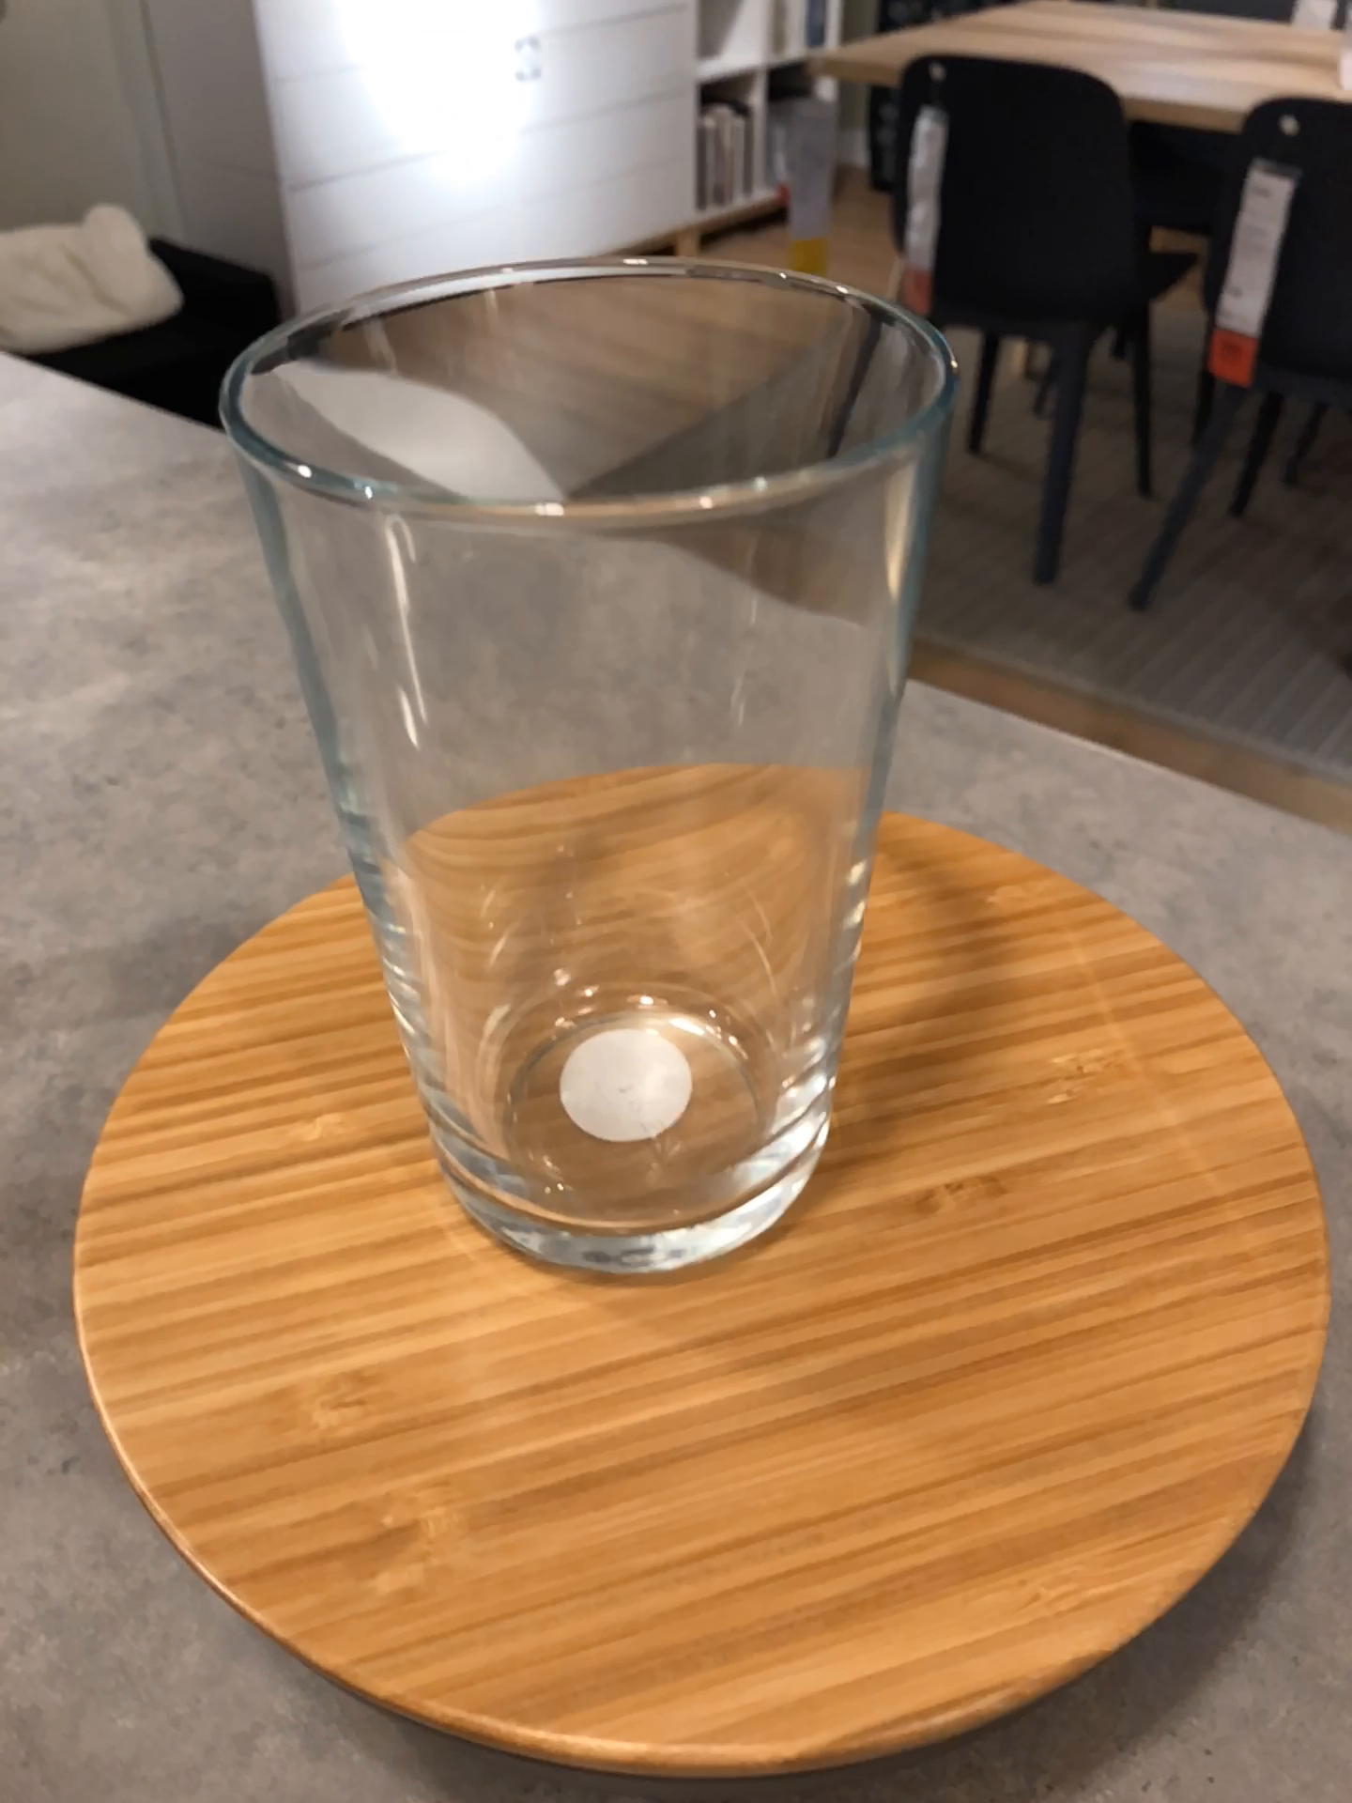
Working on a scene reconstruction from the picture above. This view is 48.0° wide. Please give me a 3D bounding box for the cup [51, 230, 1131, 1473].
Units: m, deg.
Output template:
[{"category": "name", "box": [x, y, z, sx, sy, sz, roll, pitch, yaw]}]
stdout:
[{"category": "cup", "box": [-0.006, -0.013, 0.236, 0.100, 0.139, 0.100, 0, 37, 0]}]
